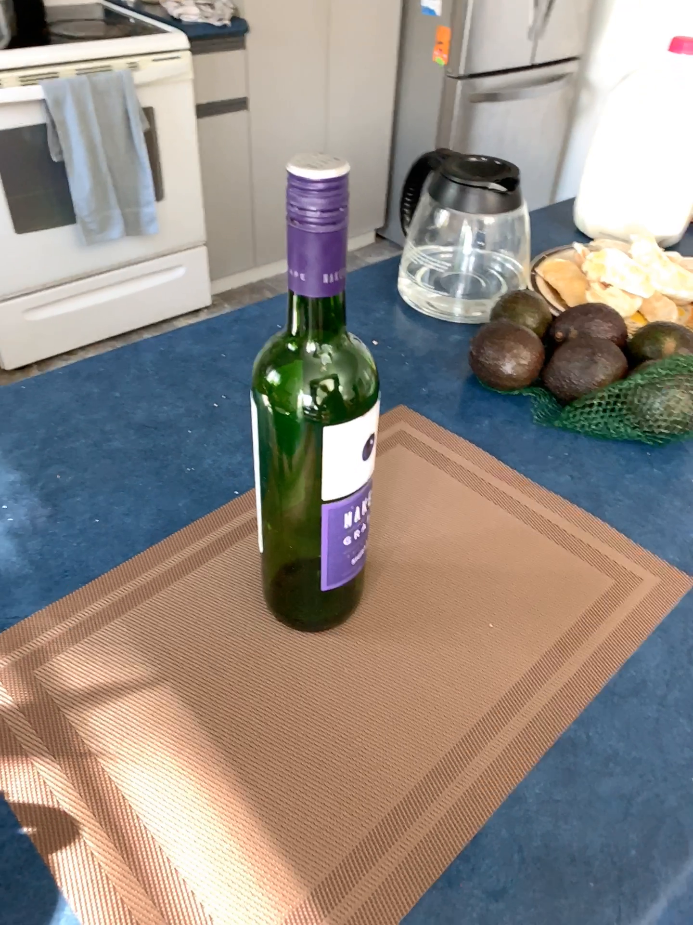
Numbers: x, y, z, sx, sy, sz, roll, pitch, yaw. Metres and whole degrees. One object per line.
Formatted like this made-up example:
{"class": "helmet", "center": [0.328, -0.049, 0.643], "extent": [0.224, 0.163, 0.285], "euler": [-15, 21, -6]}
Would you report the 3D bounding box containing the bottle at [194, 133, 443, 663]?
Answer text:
{"class": "bottle", "center": [-0.015, -0.017, 0.402], "extent": [0.080, 0.287, 0.081], "euler": [2, 40, -2]}
